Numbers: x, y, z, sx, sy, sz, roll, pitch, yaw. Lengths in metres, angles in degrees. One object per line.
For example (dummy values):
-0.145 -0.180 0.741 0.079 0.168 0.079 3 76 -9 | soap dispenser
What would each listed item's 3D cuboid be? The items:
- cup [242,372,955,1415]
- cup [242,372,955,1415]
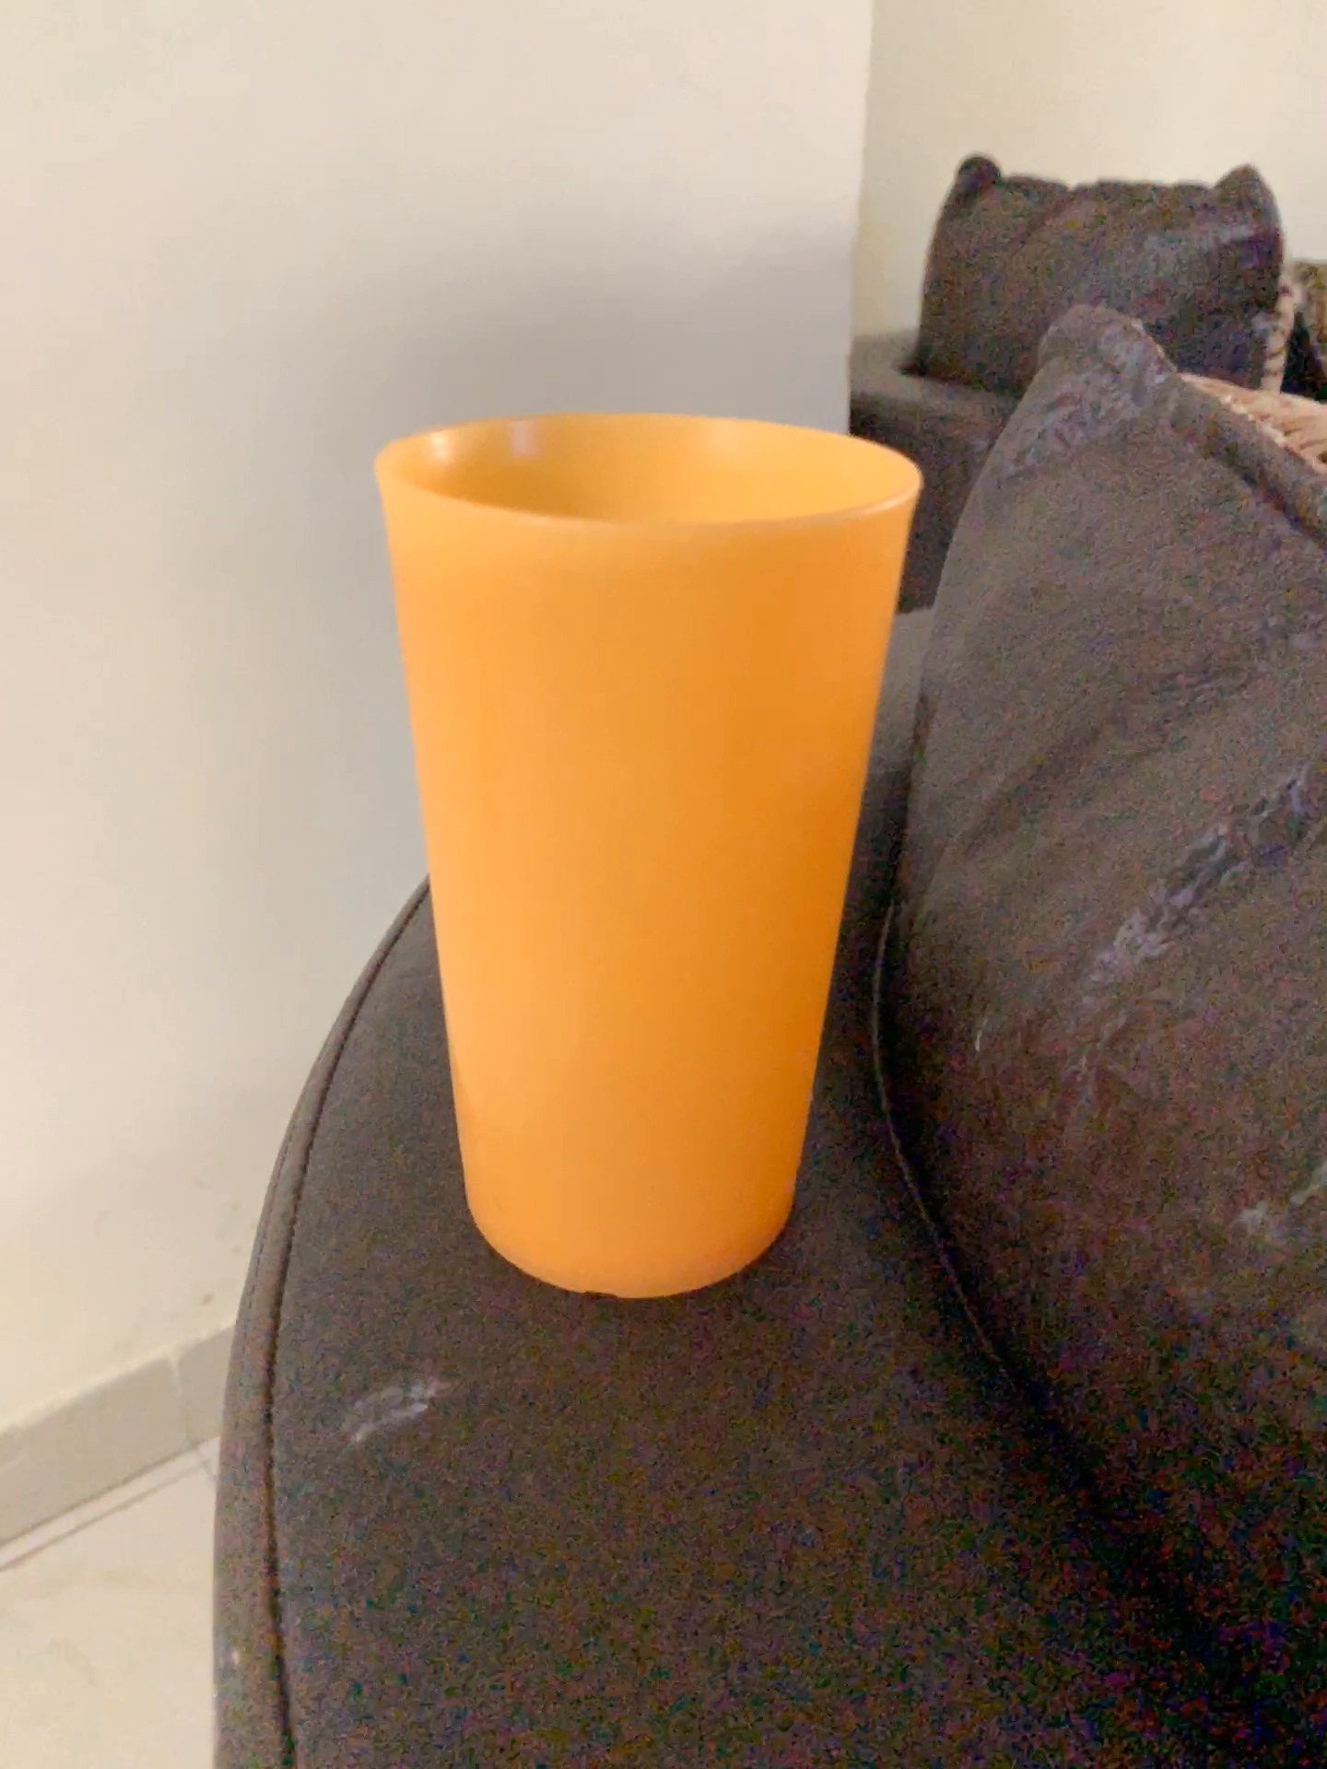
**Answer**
-0.004 -0.003 0.208 0.070 0.129 0.070 0 26 0 | cup
-0.004 -0.003 0.208 0.070 0.129 0.070 0 26 0 | cup
